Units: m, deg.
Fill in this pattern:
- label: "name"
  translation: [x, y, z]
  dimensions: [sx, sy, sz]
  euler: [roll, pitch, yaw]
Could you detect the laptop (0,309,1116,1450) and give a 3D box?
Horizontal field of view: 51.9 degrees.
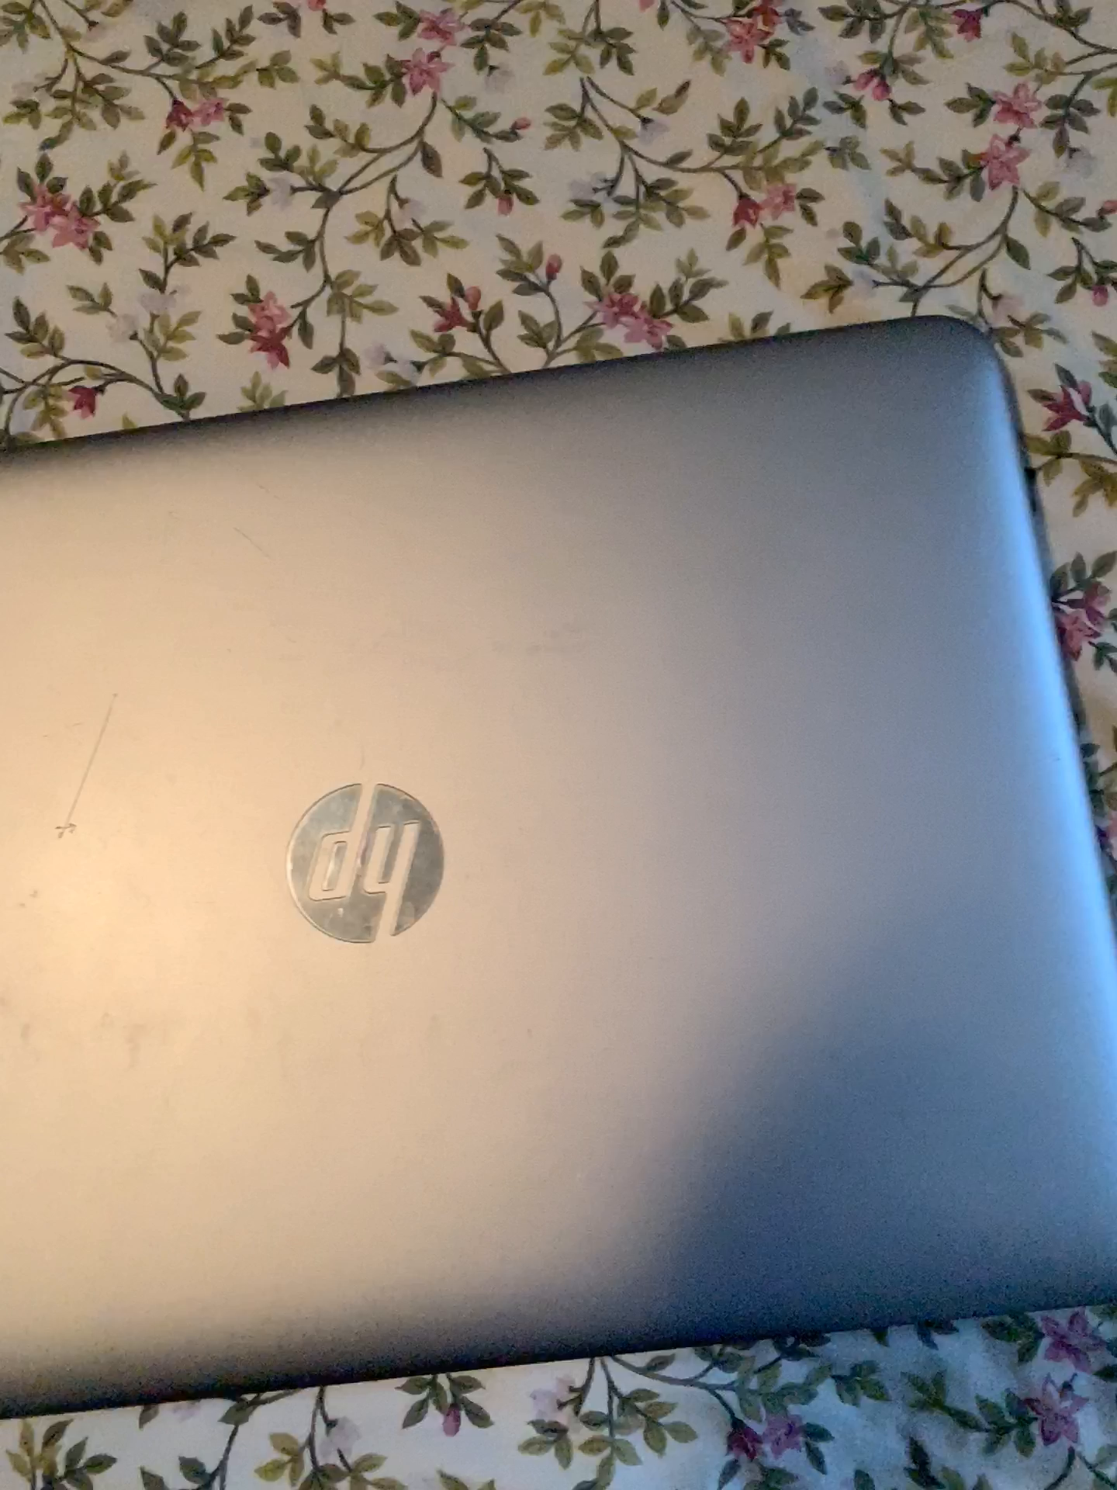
- label: "laptop"
  translation: [-0.047, 0.025, 0.277]
  dimensions: [0.336, 0.010, 0.228]
  euler: [-8, 79, 2]
